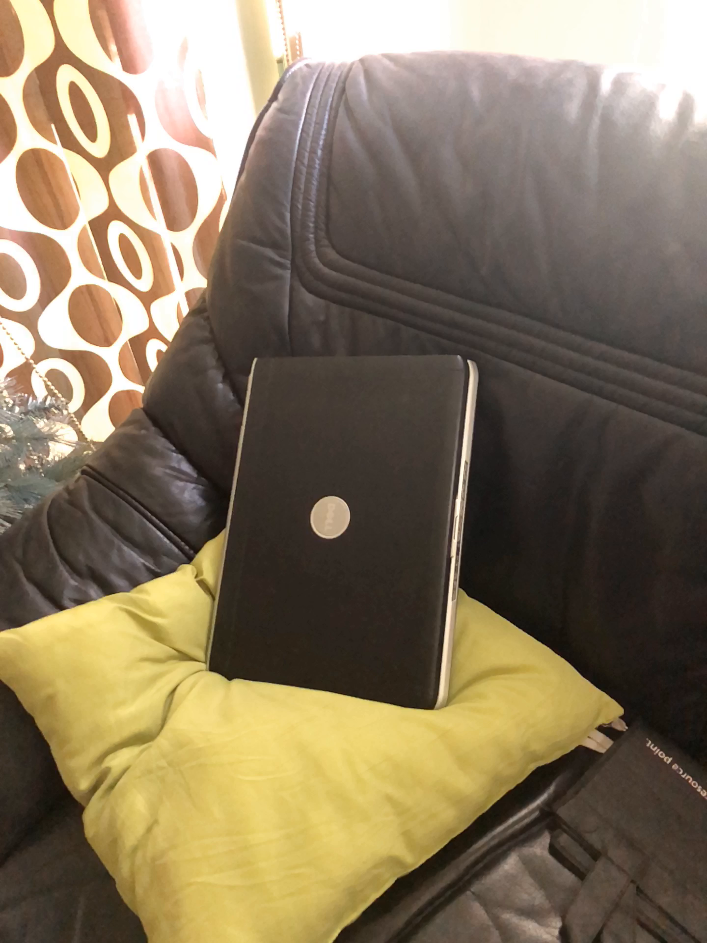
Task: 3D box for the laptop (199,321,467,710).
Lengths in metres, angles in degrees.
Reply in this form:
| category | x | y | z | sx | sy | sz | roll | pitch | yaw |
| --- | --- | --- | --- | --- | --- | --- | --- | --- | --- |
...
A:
| category | x | y | z | sx | sy | sz | roll | pitch | yaw |
| --- | --- | --- | --- | --- | --- | --- | --- | --- | --- |
| laptop | -0.022 | 0.032 | 0.784 | 0.247 | 0.033 | 0.345 | 3 | 78 | 24 |
